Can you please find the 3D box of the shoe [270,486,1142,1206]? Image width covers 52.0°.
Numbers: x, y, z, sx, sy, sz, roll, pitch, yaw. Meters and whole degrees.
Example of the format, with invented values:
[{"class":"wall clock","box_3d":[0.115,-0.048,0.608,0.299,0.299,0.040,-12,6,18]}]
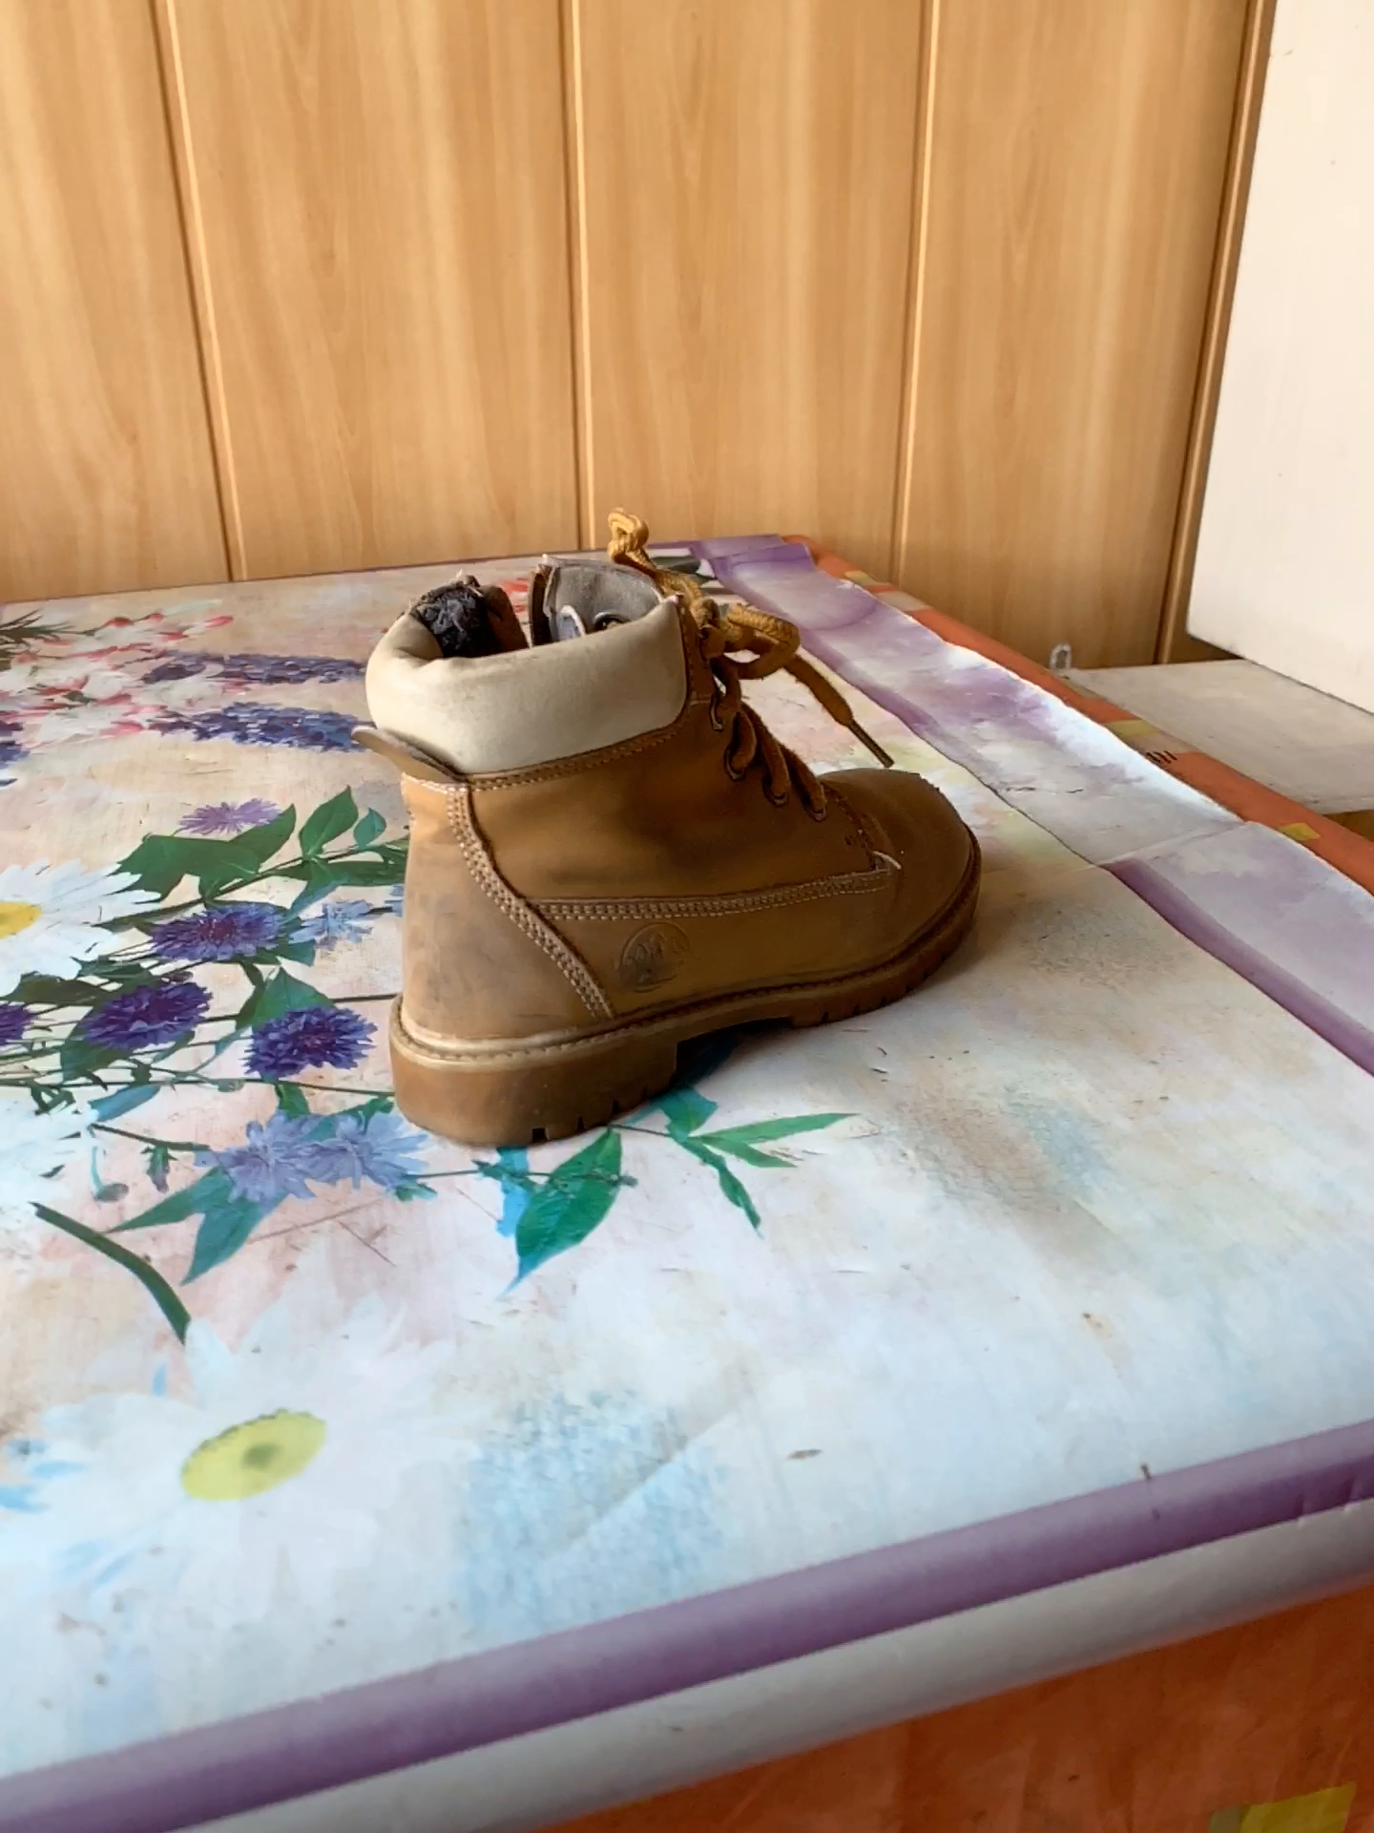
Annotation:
[{"class":"shoe","box_3d":[0.015,-0.037,0.394,0.221,0.129,0.090,-19,31,-35]}]
